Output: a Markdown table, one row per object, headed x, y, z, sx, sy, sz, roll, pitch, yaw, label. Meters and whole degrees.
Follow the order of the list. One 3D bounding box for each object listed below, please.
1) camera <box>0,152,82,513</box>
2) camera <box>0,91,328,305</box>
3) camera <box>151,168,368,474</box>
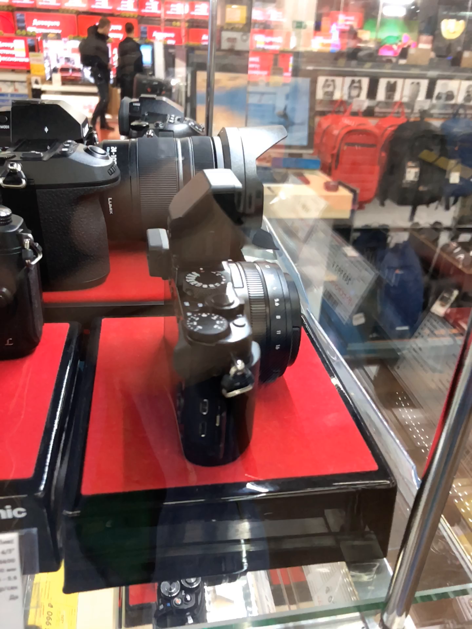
| x | y | z | sx | sy | sz | roll | pitch | yaw | label |
| --- | --- | --- | --- | --- | --- | --- | --- | --- | --- |
| -0.127 | -0.010 | 0.219 | 0.098 | 0.081 | 0.150 | -1 | 28 | -9 | camera |
| -0.072 | -0.104 | 0.419 | 0.226 | 0.114 | 0.176 | -3 | 28 | -12 | camera |
| -0.002 | -0.007 | 0.251 | 0.069 | 0.098 | 0.117 | -3 | 28 | -12 | camera |
